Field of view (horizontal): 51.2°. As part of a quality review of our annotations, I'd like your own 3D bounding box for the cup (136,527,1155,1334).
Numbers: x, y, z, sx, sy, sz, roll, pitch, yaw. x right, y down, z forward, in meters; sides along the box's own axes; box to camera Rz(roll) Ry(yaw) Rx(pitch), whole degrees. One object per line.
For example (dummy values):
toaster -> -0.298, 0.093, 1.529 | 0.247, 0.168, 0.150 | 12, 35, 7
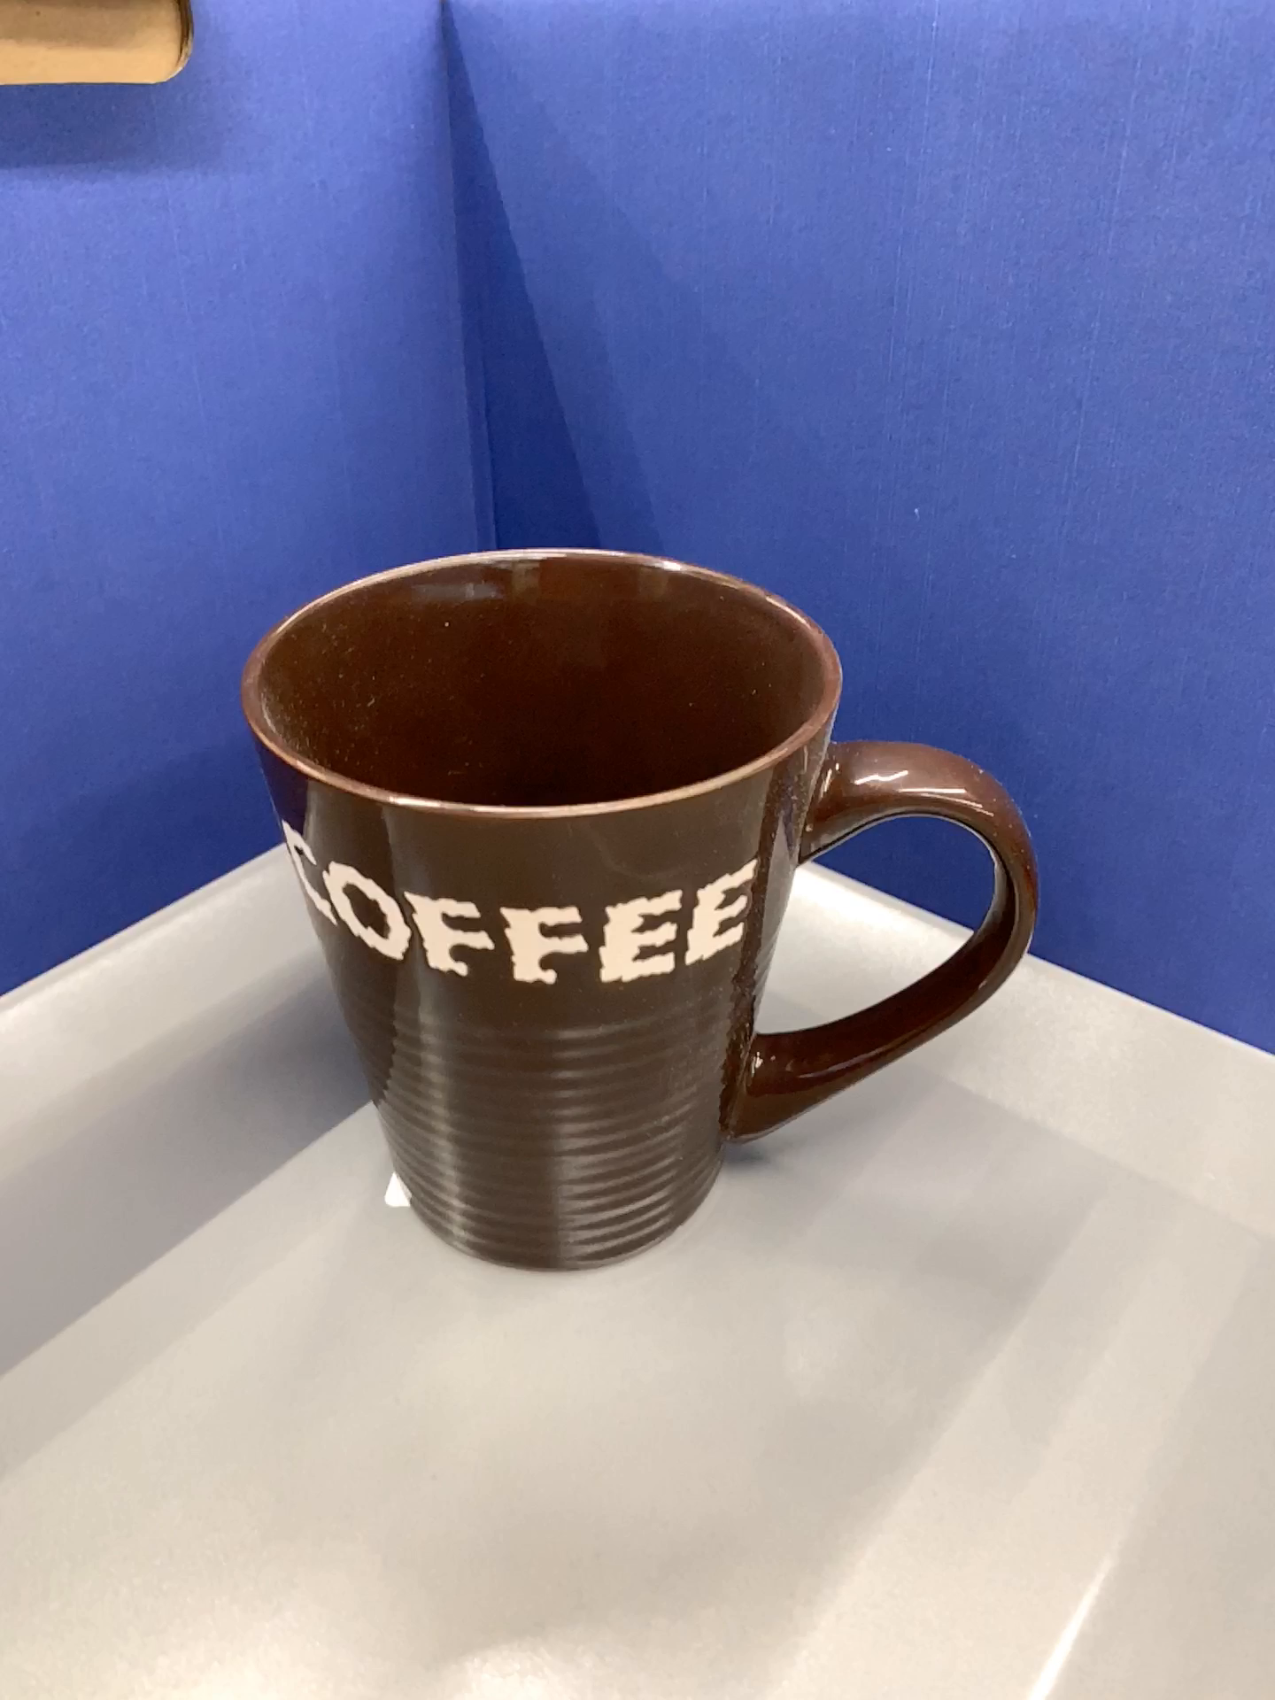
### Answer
cup -> 0.003, 0.009, 0.230 | 0.128, 0.098, 0.090 | 3, 33, 4
